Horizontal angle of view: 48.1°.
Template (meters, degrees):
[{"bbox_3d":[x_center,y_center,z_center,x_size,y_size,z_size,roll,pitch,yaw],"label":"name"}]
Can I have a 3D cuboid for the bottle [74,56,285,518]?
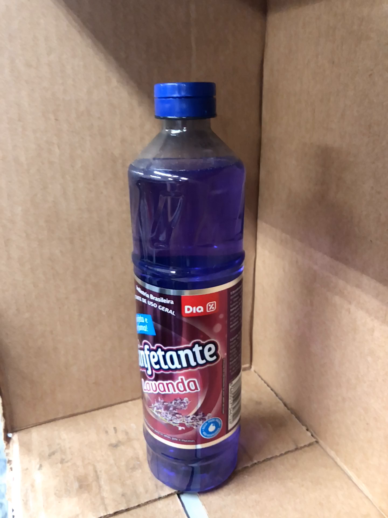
[{"bbox_3d":[-0.001,0.019,0.246,0.070,0.238,0.070,-2,22,1],"label":"bottle"}]
